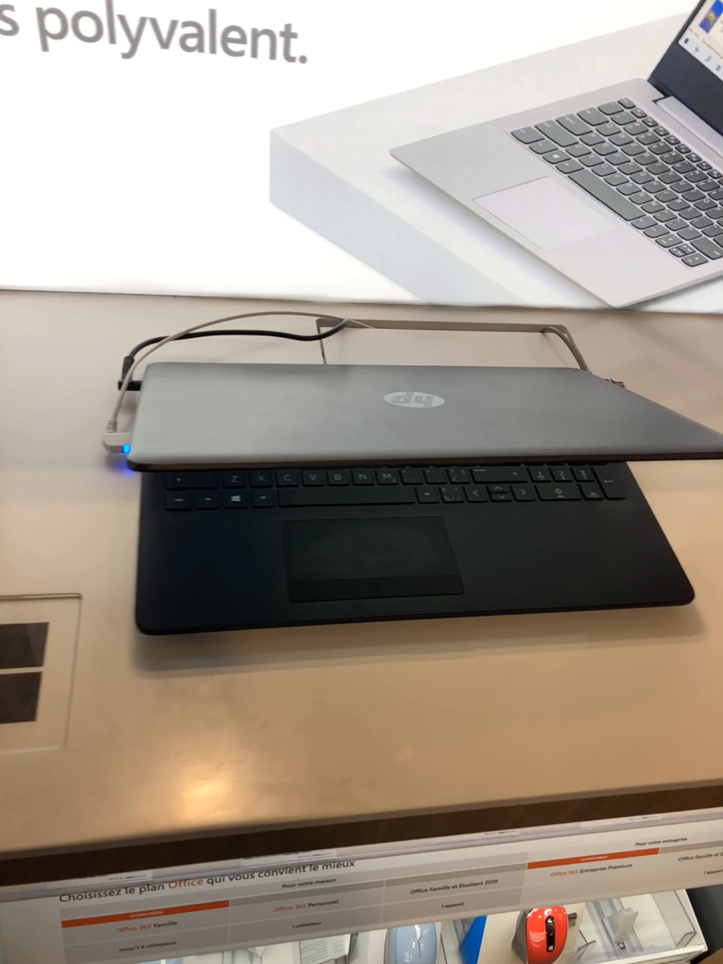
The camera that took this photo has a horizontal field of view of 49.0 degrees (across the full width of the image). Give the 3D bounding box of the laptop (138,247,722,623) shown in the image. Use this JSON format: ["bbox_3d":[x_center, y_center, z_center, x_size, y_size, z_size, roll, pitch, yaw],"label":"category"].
[{"bbox_3d":[0.037,-0.042,0.544,0.351,0.107,0.239,-1,47,-11],"label":"laptop"}]
